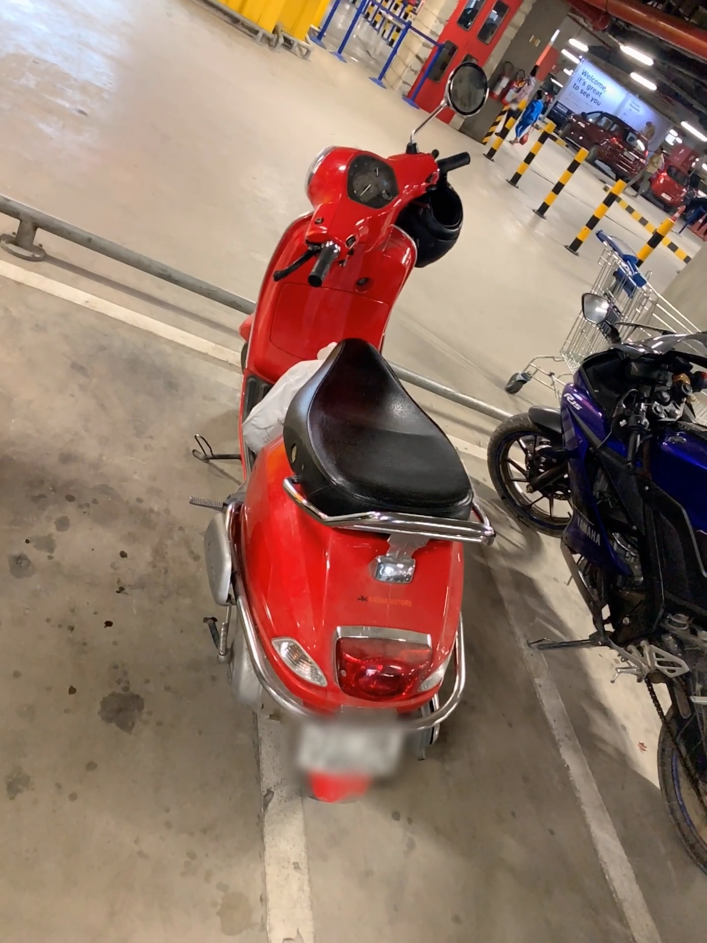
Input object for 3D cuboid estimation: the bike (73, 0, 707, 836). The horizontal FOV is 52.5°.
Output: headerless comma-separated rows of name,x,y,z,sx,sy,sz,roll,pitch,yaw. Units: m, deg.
bike,-0.172,-0.224,1.817,0.633,1.201,1.684,16,35,-29
